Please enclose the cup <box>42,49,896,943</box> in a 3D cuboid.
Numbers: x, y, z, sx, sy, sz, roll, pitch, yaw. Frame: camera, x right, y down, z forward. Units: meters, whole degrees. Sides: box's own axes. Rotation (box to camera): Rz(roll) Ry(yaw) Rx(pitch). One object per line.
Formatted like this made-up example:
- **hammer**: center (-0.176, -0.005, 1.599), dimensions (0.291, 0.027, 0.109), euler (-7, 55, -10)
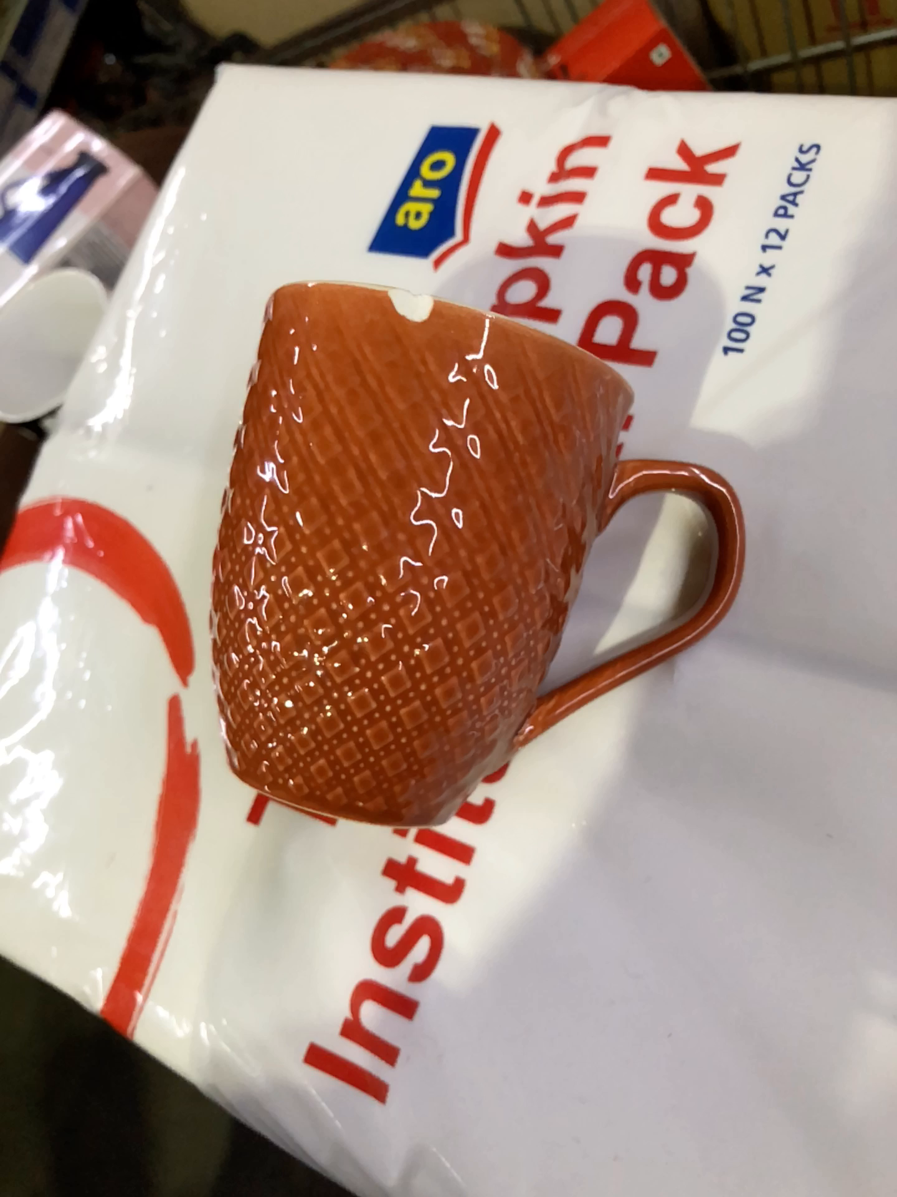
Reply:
- **cup**: center (0.002, -0.010, 0.169), dimensions (0.070, 0.100, 0.090), euler (178, 112, -74)
